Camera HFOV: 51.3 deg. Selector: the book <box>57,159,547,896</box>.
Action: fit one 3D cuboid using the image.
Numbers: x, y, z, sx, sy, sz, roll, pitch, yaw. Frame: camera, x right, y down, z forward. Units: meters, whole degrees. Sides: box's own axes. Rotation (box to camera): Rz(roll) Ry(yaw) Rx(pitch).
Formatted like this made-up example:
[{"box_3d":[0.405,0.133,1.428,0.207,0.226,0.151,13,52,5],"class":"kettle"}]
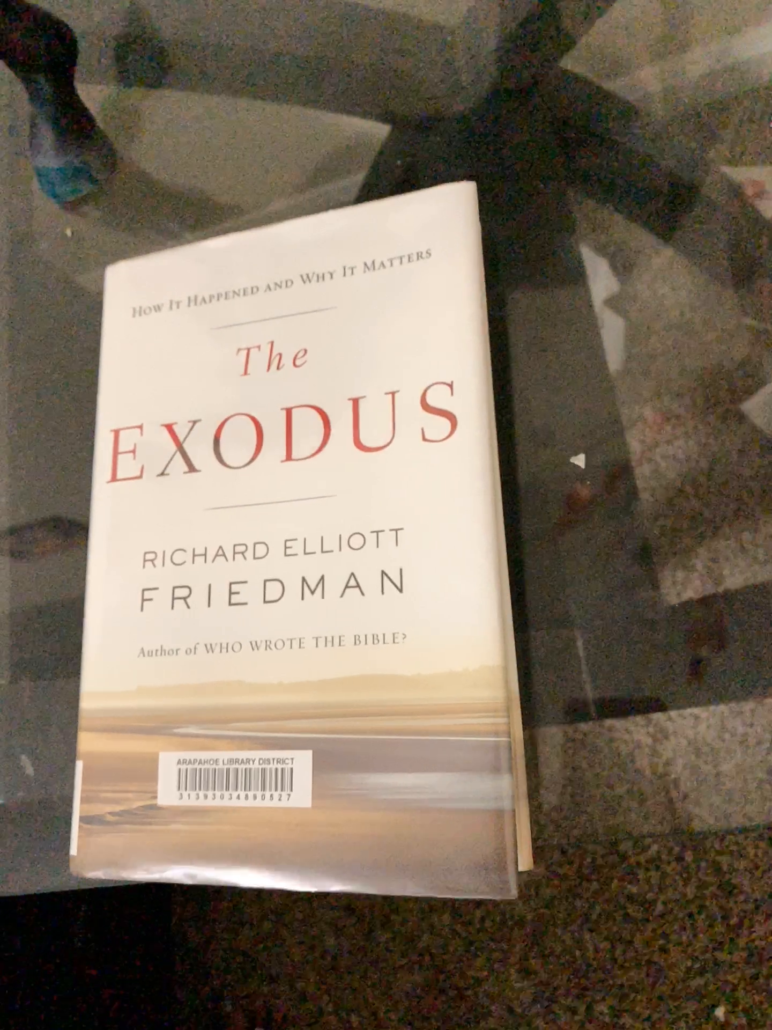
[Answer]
[{"box_3d":[-0.033,0.003,0.284,0.160,0.030,0.231,-5,79,16],"class":"book"}]
